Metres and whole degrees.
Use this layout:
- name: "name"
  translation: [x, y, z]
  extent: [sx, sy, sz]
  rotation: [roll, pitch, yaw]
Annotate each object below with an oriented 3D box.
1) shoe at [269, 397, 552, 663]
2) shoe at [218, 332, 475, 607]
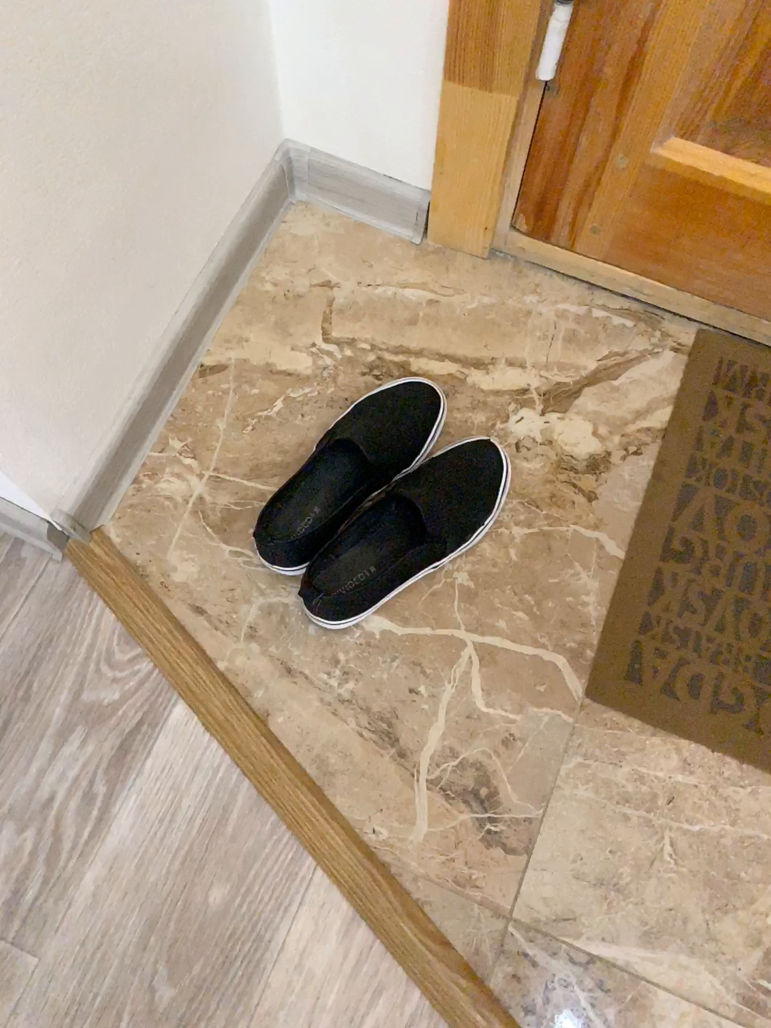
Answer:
- name: "shoe"
  translation: [0.025, 0.012, 0.713]
  extent: [0.250, 0.060, 0.090]
  rotation: [-40, 75, -15]
- name: "shoe"
  translation: [-0.031, -0.044, 0.731]
  extent: [0.090, 0.060, 0.250]
  rotation: [37, 72, 12]
